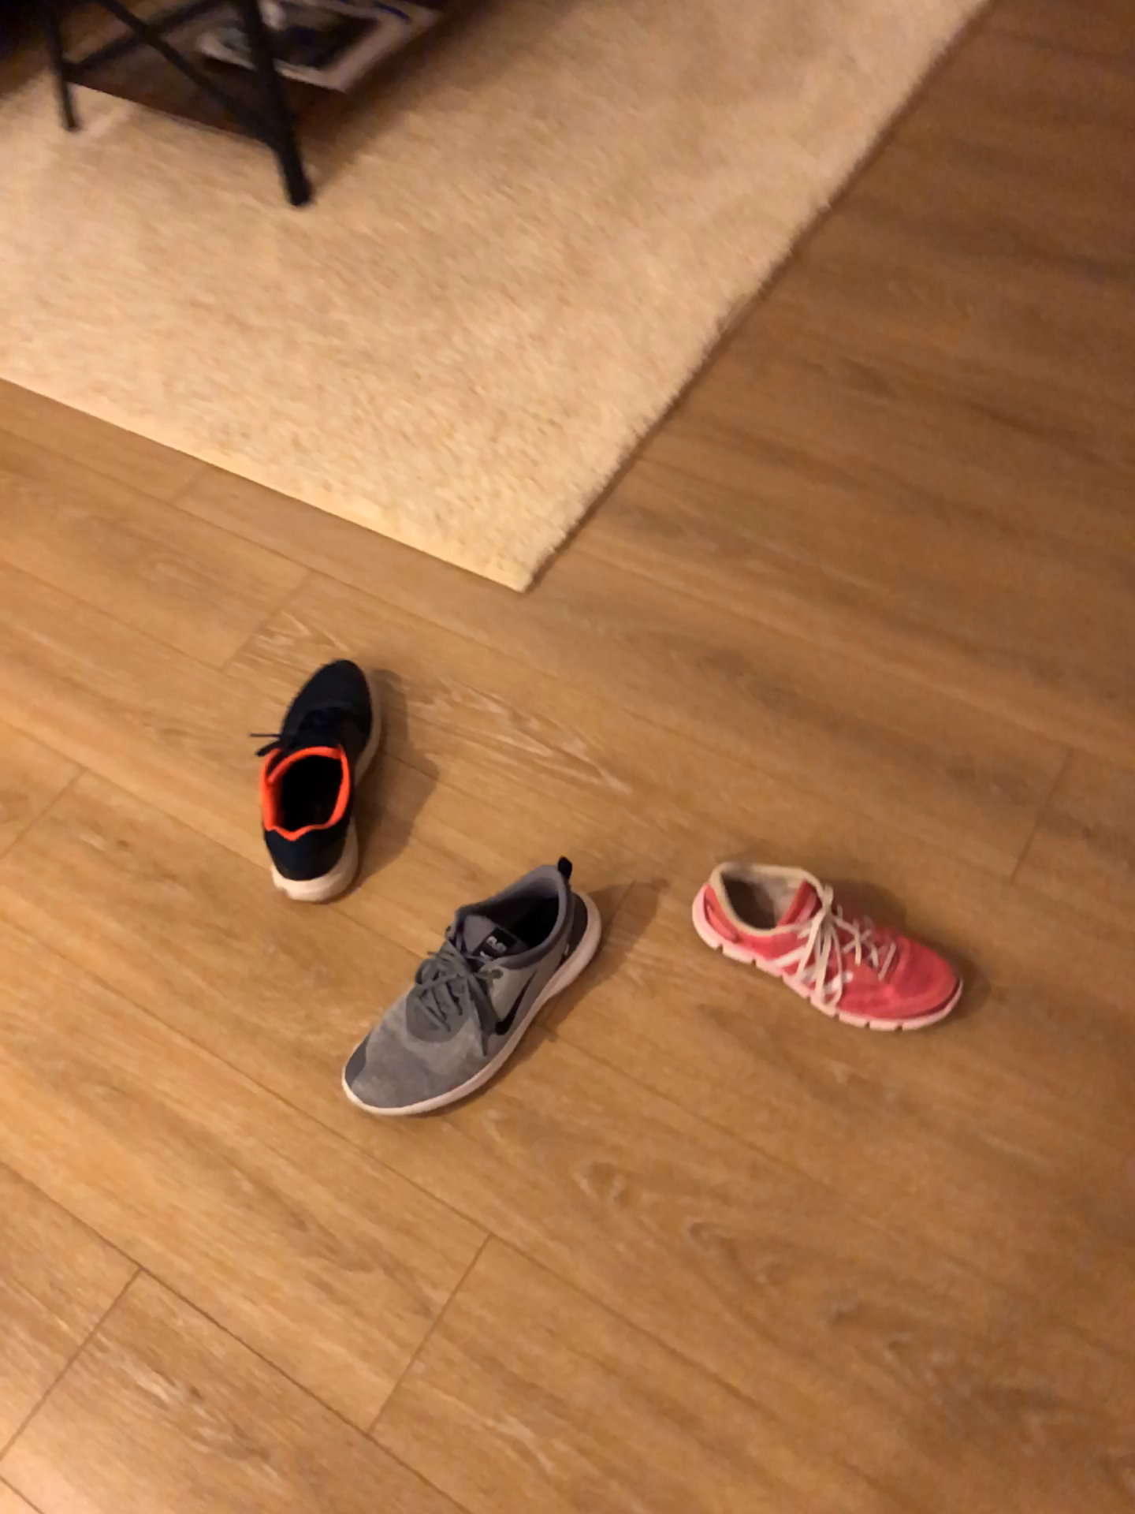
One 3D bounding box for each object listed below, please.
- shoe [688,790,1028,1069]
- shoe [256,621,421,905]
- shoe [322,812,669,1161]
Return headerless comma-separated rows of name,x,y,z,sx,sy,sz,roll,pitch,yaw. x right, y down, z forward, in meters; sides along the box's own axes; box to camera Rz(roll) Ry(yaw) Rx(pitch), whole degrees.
shoe,0.275,0.162,1.210,0.280,0.090,0.140,23,60,20
shoe,-0.242,0.002,1.365,0.130,0.100,0.301,-3,55,3
shoe,-0.059,0.213,1.186,0.306,0.110,0.130,-38,60,-20
